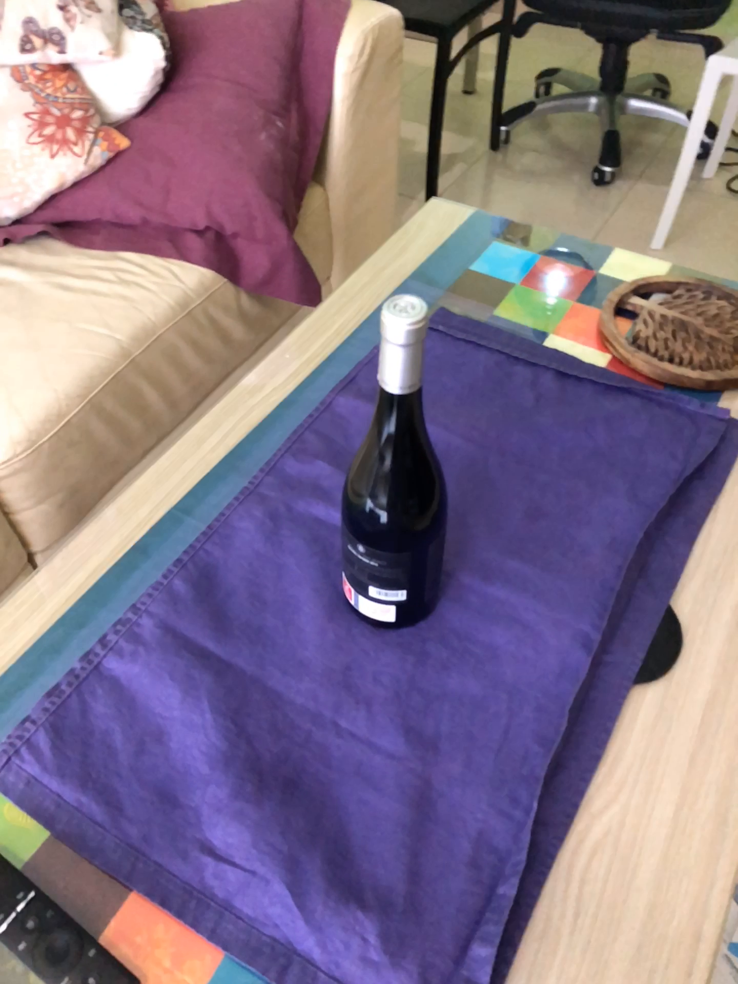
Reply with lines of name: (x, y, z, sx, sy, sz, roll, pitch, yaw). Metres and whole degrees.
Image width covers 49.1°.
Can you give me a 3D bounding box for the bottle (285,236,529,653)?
bottle: (0.021, -0.020, 0.566, 0.100, 0.269, 0.100, 0, 47, 0)
